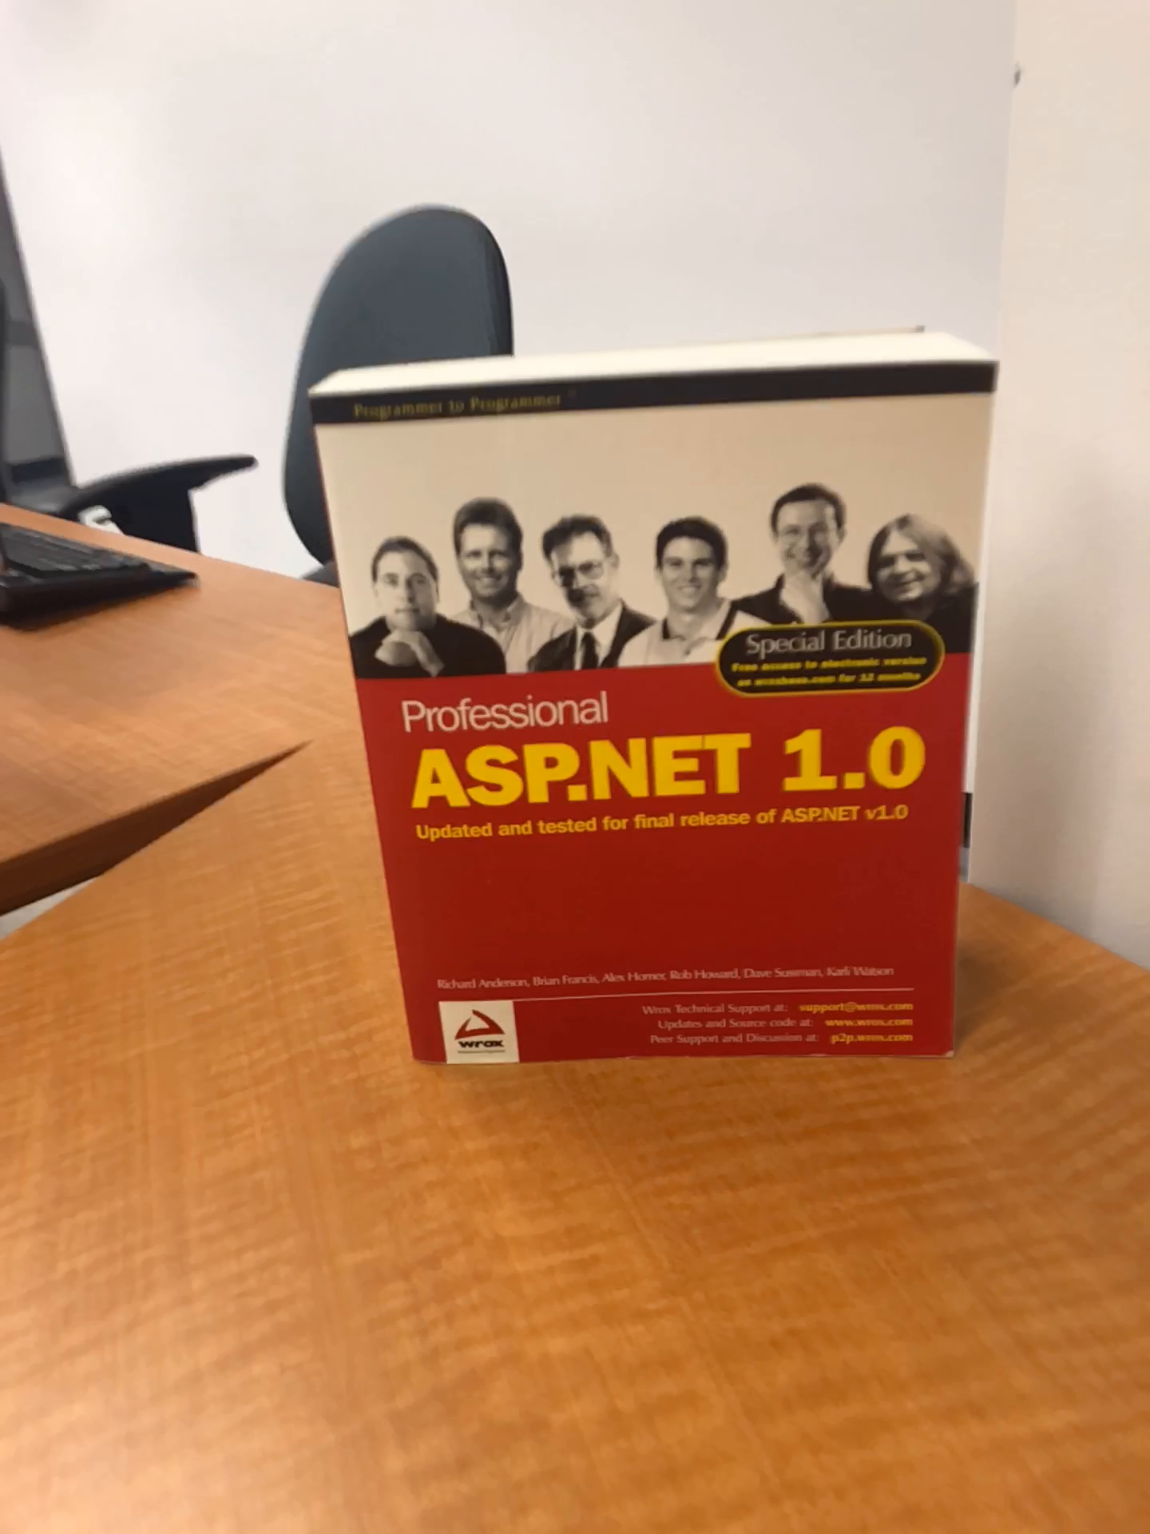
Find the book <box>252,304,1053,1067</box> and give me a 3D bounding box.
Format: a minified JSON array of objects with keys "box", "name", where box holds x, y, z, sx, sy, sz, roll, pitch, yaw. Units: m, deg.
[{"box":[0.027,-0.016,0.397,0.210,0.229,0.050,-2,23,5],"name":"book"}]
